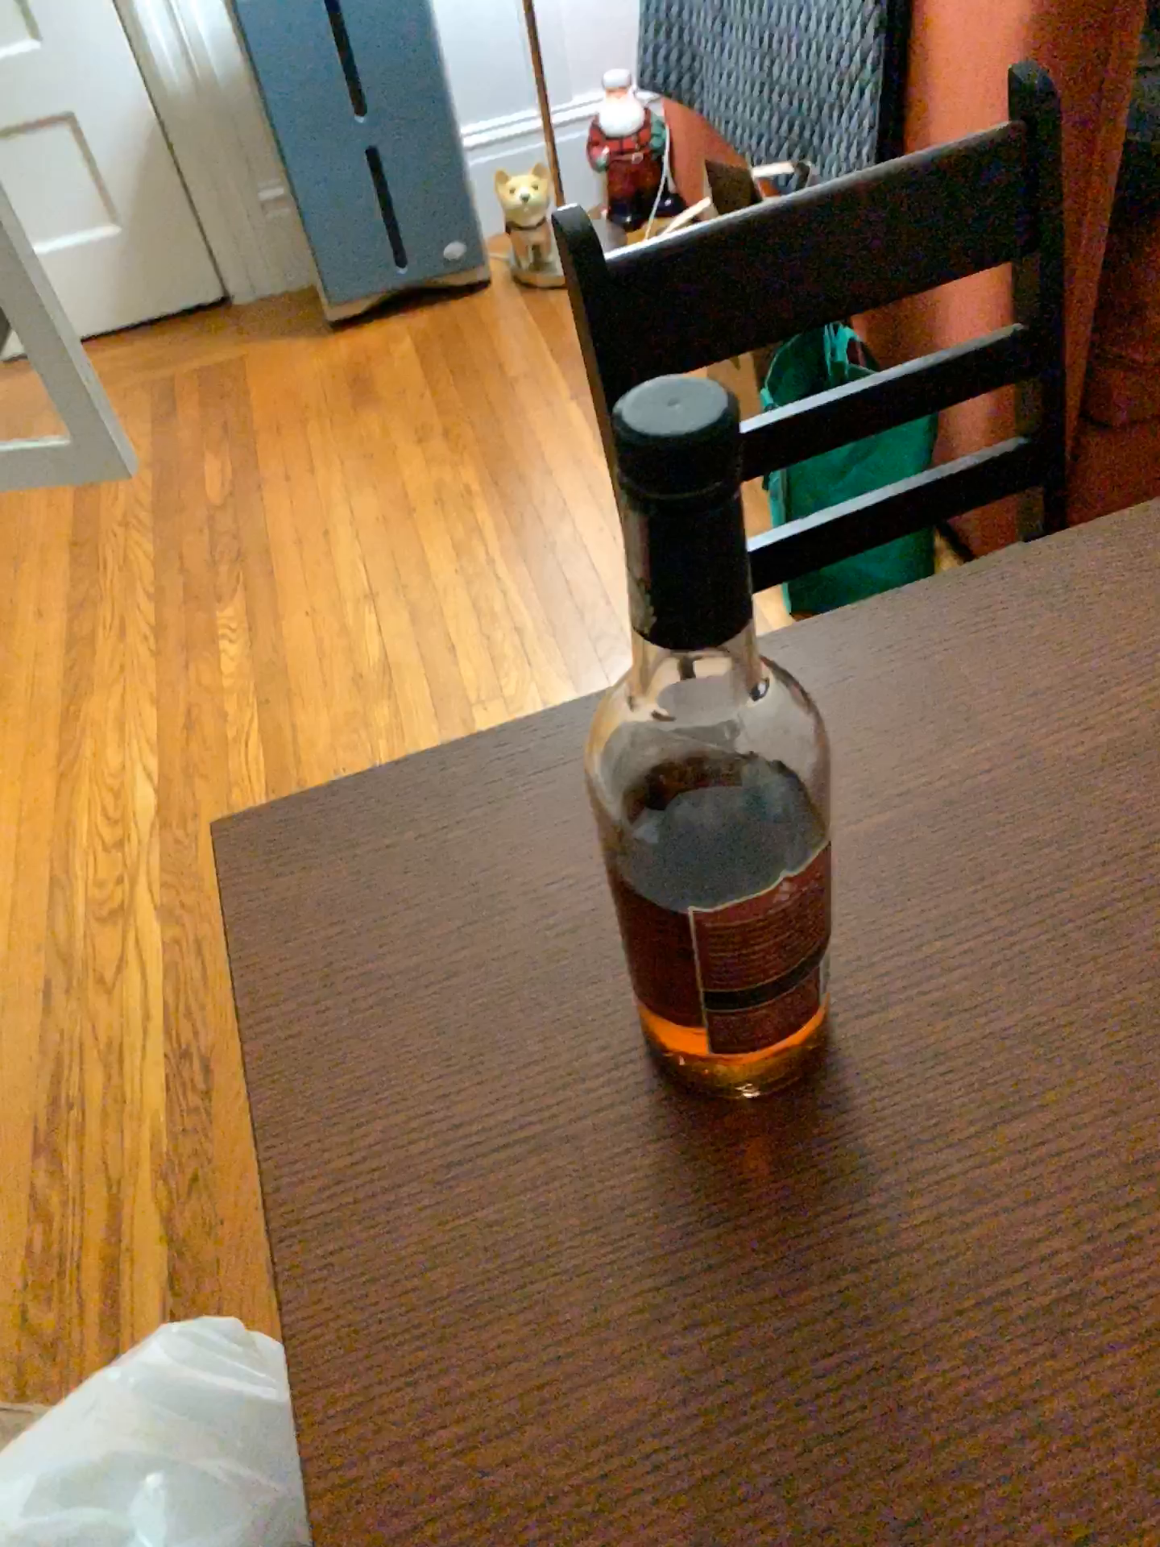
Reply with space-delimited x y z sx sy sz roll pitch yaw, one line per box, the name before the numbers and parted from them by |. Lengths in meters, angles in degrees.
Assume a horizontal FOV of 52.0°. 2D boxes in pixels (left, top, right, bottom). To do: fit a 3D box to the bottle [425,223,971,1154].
bottle | 0.044 -0.001 0.378 0.090 0.288 0.091 -6 47 6
